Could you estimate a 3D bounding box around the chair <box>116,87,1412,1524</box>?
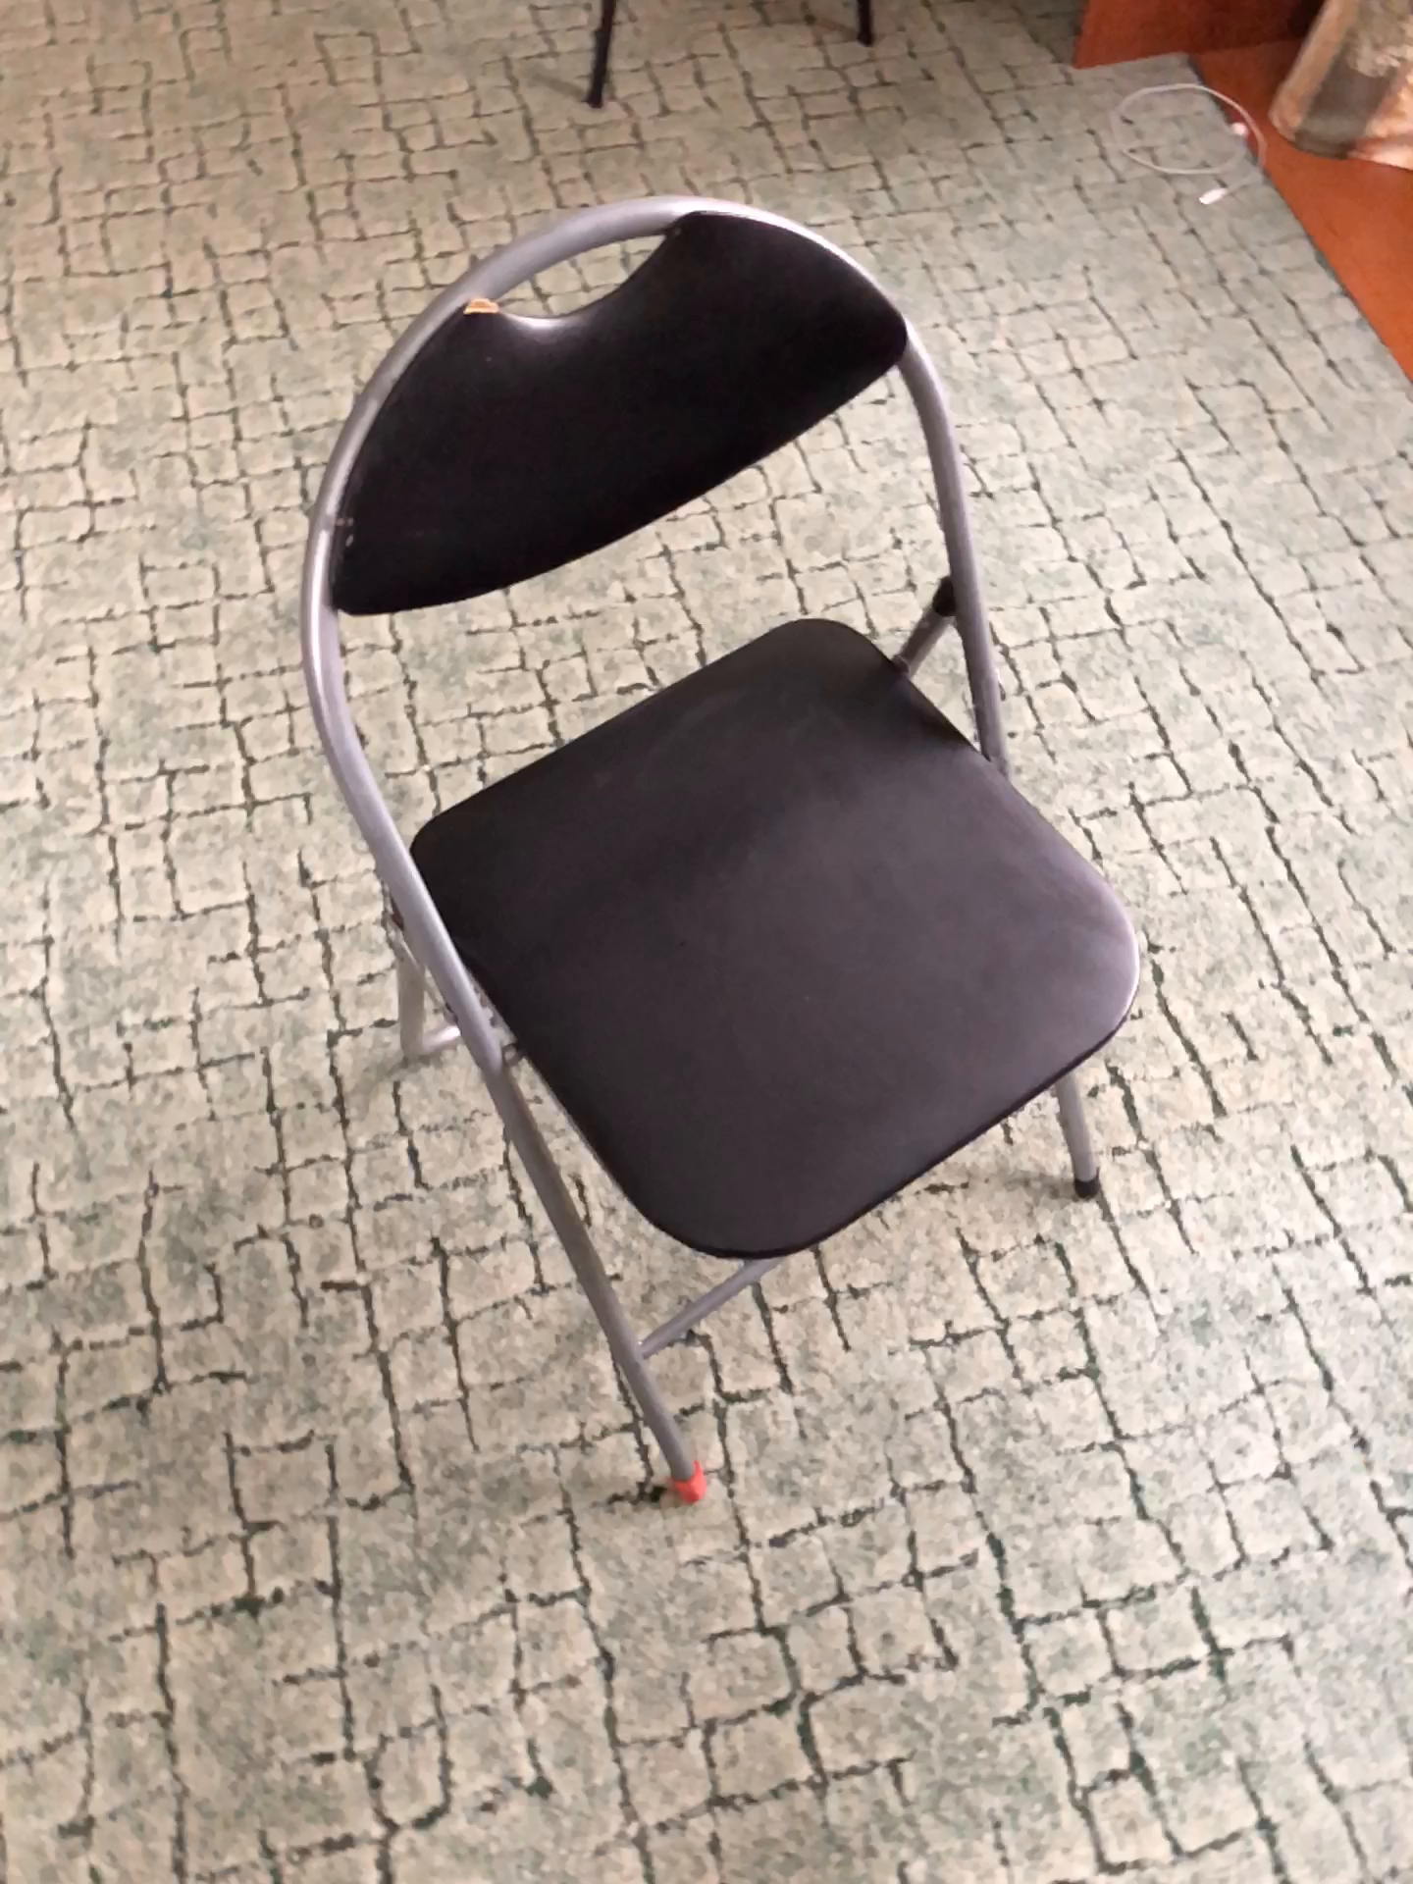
[{"bbox_3d":[0.034,-0.022,1.030,0.457,0.733,0.476,-32,65,-18],"label":"chair"}]
